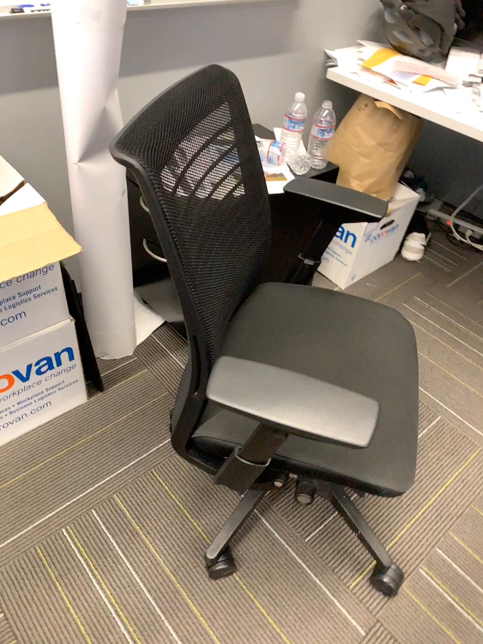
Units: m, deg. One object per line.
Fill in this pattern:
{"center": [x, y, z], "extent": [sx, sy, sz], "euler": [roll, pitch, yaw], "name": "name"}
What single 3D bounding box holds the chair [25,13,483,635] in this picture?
{"center": [0.157, 0.026, 0.977], "extent": [0.680, 0.915, 0.663], "euler": [11, 43, 5], "name": "chair"}
